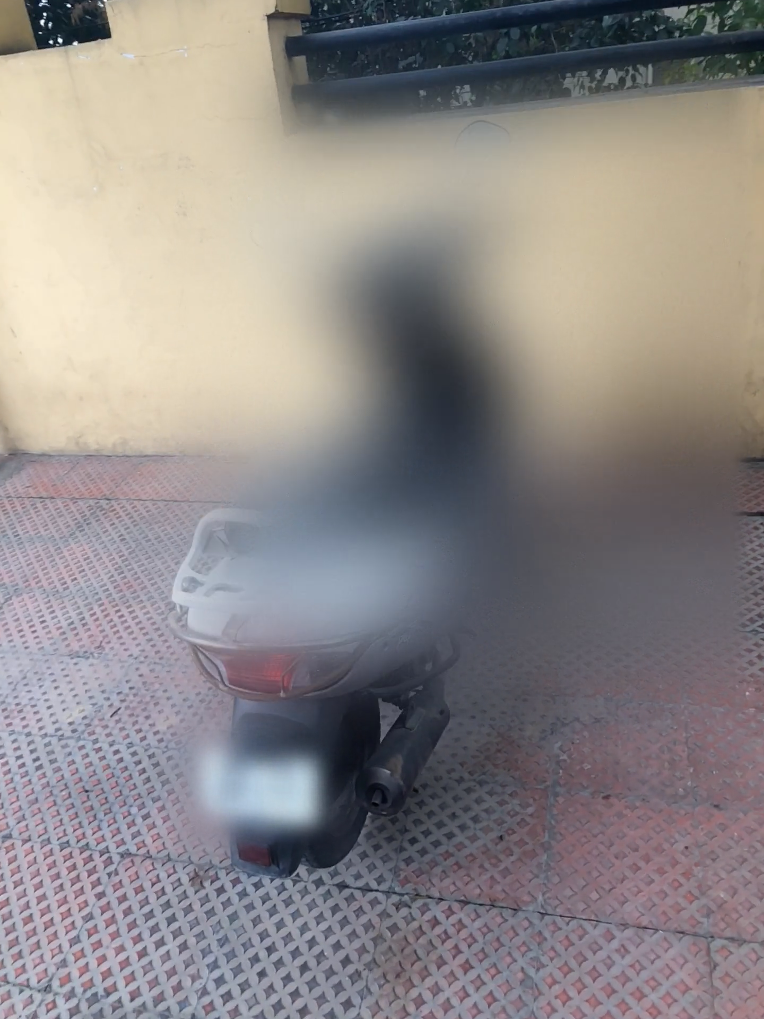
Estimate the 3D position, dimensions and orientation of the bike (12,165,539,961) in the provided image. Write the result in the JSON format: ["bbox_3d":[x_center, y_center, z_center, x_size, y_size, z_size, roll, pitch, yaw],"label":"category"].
[{"bbox_3d":[-0.011,-0.047,1.976,0.599,1.081,1.480,2,33,16],"label":"bike"}]
